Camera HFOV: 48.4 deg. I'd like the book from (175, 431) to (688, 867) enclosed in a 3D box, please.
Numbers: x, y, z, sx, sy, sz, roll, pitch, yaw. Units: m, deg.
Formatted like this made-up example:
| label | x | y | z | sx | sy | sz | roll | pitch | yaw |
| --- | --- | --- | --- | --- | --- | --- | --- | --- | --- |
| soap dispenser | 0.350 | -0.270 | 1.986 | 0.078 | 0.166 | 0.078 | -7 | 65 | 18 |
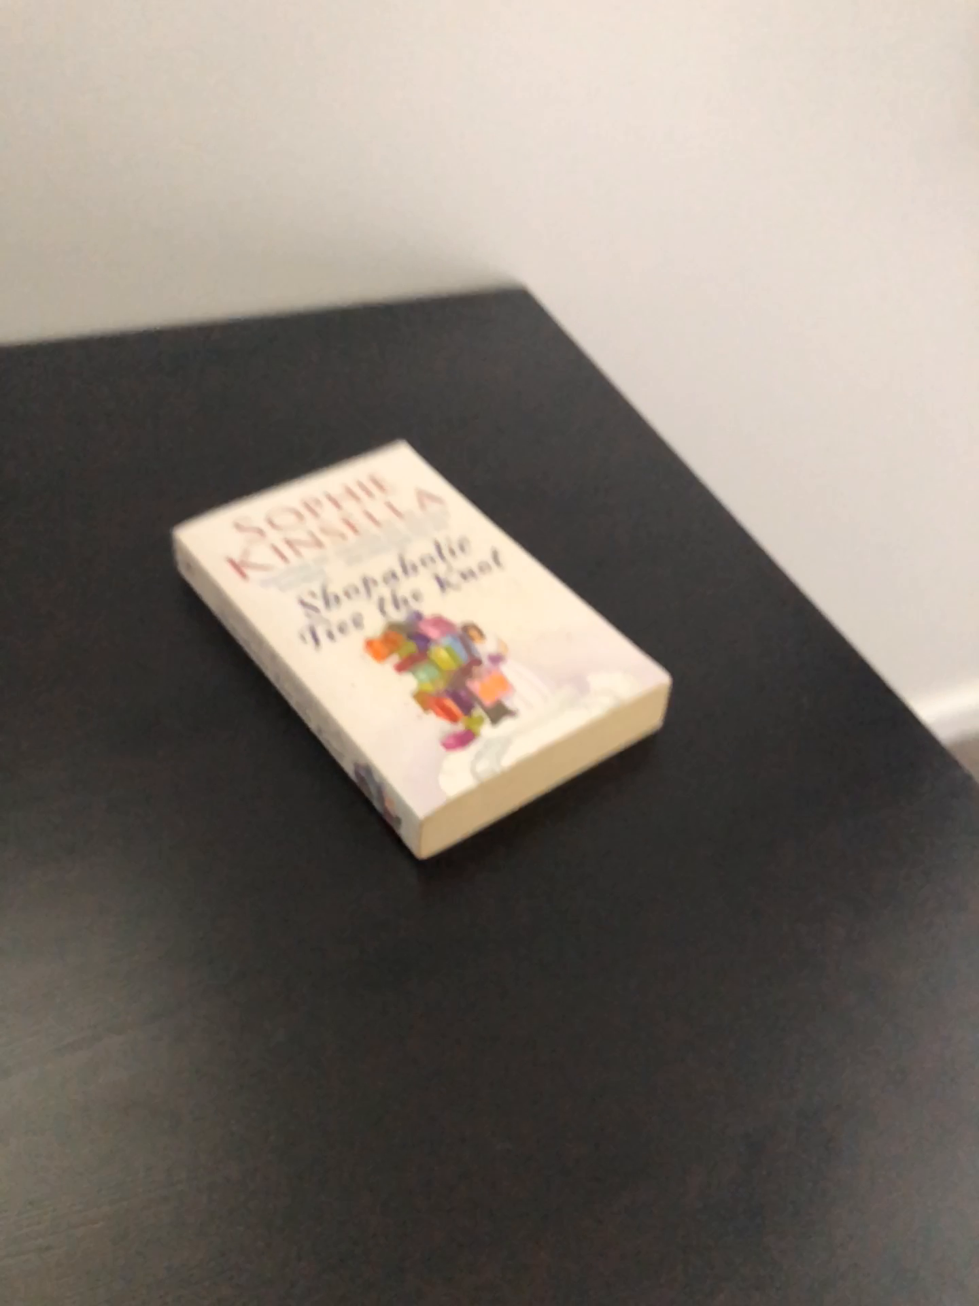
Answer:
| label | x | y | z | sx | sy | sz | roll | pitch | yaw |
| --- | --- | --- | --- | --- | --- | --- | --- | --- | --- |
| book | -0.032 | -0.016 | 0.482 | 0.131 | 0.035 | 0.200 | -27 | 52 | -27 |
